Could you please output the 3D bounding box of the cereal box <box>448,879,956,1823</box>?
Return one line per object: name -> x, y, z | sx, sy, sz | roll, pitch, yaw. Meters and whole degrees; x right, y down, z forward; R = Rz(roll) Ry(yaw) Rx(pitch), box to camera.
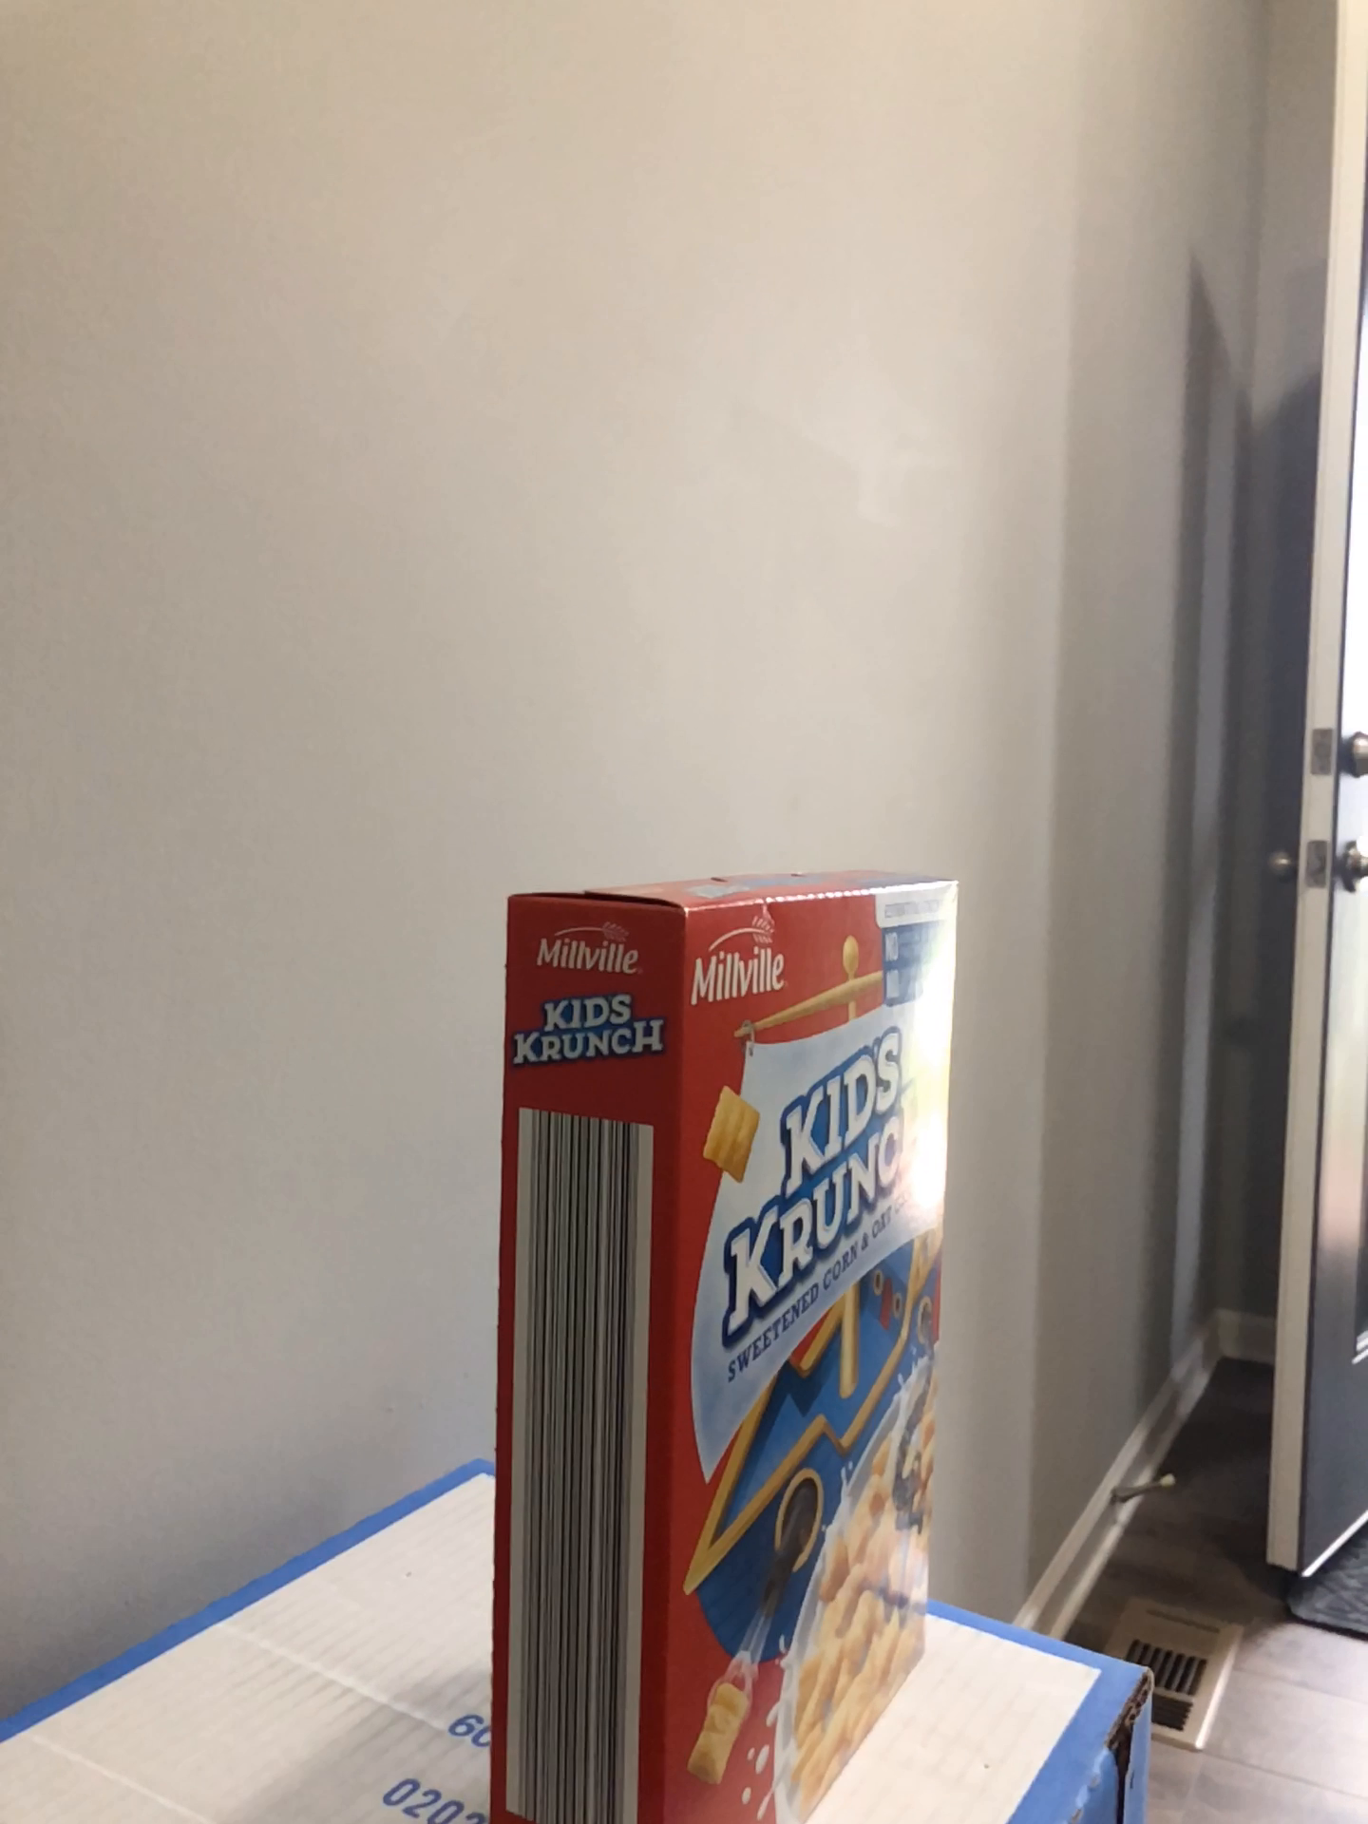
cereal box -> 0.018, 0.129, 0.465 | 0.060, 0.270, 0.210 | 3, 4, 28
